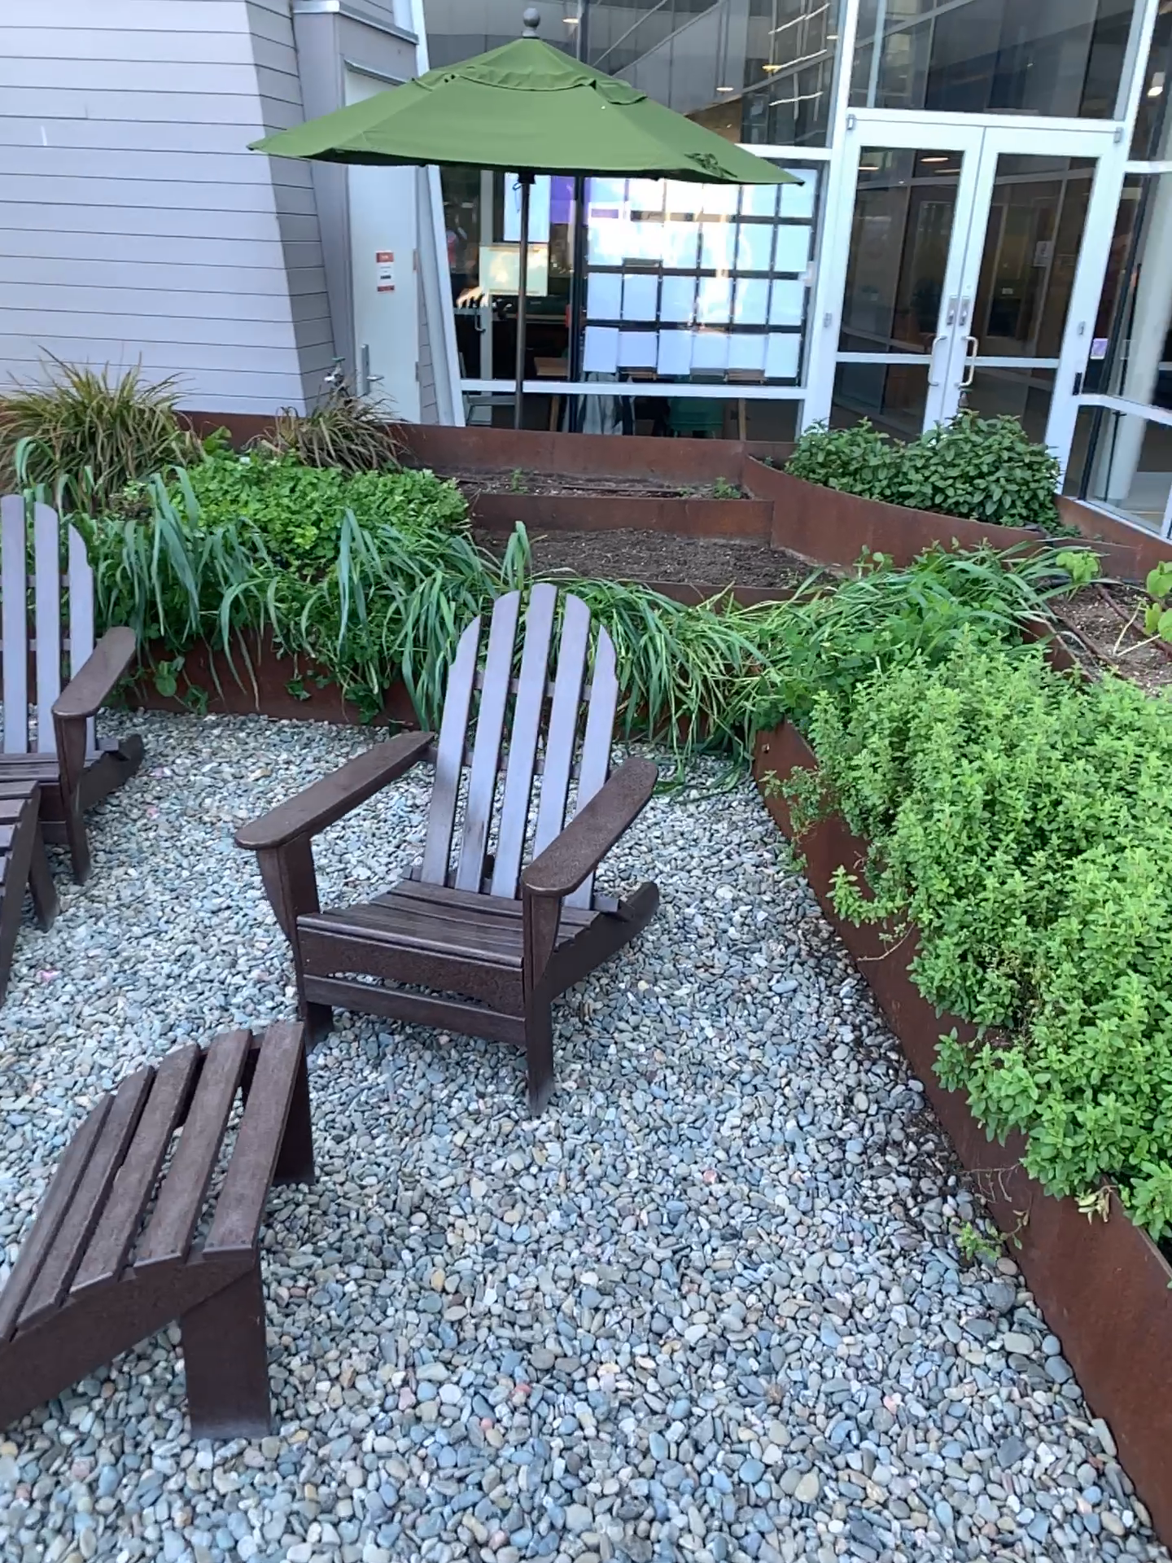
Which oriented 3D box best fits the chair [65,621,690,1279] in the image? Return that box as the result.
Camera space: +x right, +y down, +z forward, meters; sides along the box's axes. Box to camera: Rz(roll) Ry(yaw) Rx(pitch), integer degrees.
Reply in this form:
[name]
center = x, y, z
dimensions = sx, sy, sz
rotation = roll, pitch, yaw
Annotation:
[chair]
center = -0.461, 0.298, 2.942
dimensions = 1.003, 0.995, 1.003
rotation = 17, 28, 29
